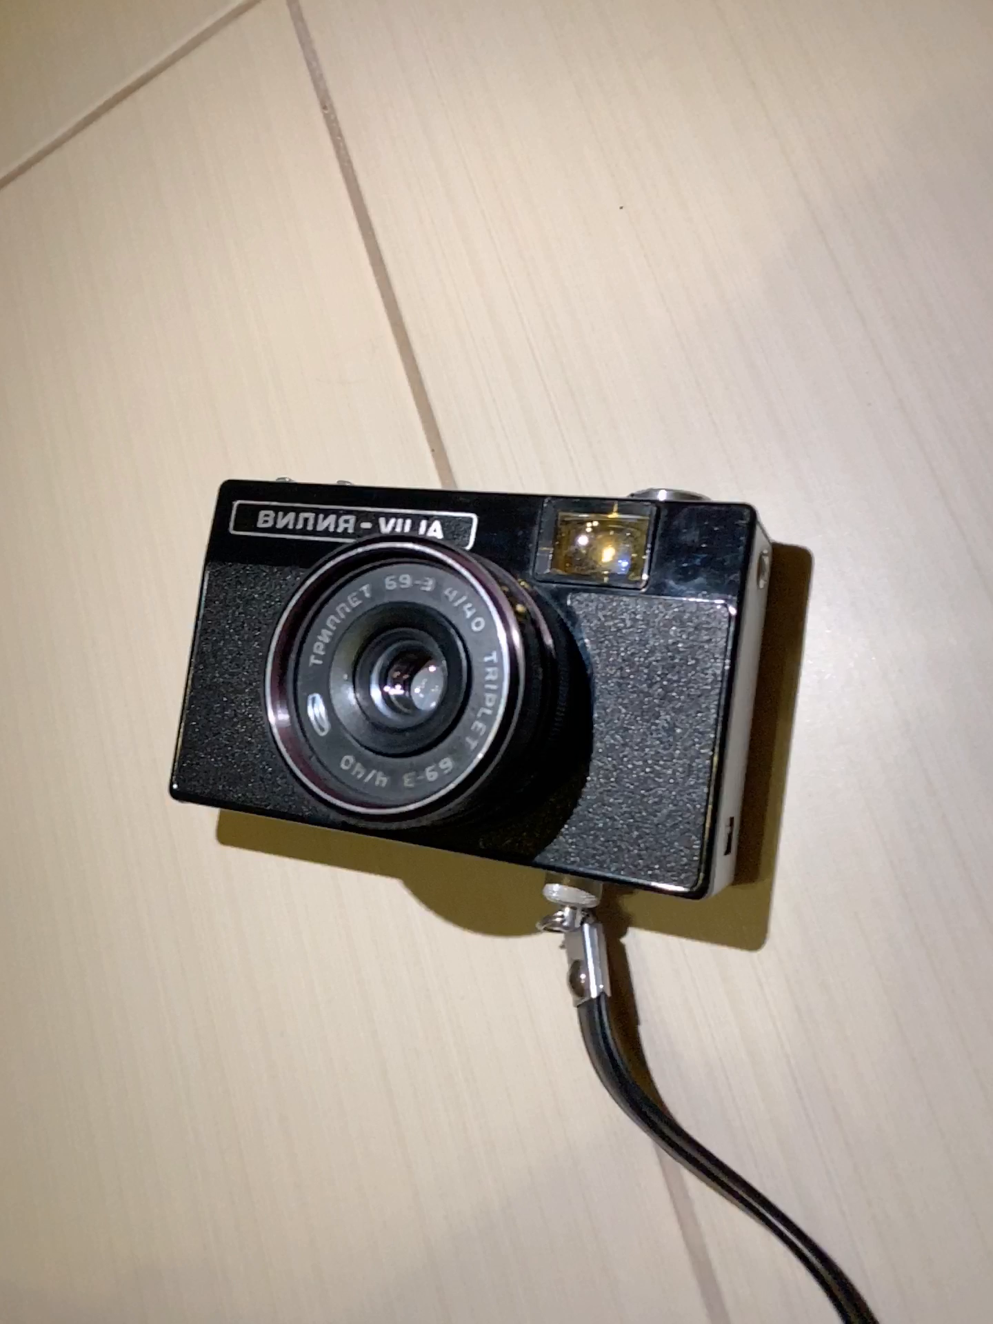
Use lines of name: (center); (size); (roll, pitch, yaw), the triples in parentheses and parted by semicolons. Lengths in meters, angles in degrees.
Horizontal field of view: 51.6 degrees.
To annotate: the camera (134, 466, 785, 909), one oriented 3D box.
camera: (-0.010, 0.001, 0.218); (0.125, 0.041, 0.073); (7, 87, 25)
